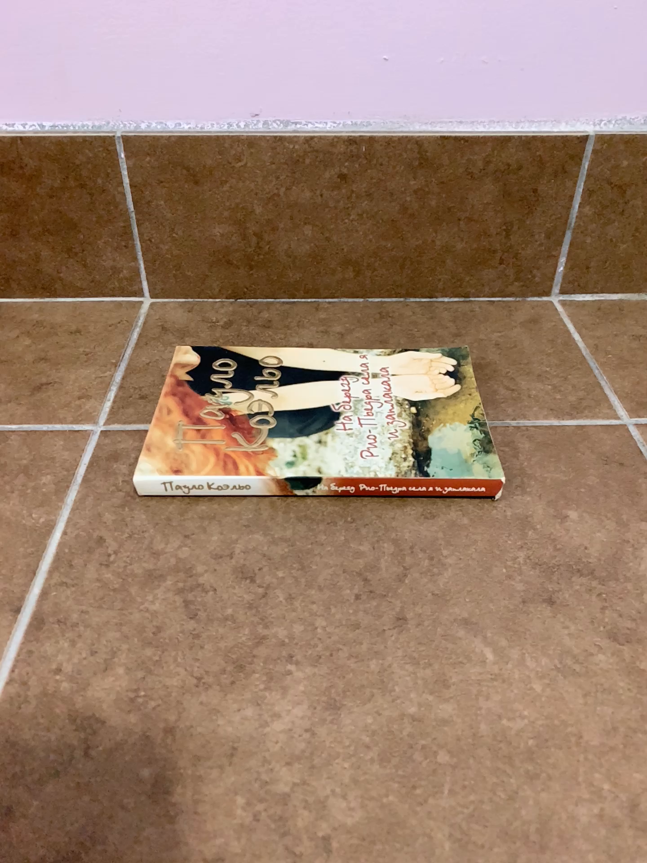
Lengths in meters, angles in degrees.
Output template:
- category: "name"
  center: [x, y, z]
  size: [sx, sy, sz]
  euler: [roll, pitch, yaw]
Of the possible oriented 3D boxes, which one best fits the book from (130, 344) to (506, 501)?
- category: "book"
  center: [-0.002, -0.010, 0.370]
  size: [0.181, 0.016, 0.120]
  euler: [0, 39, 0]
